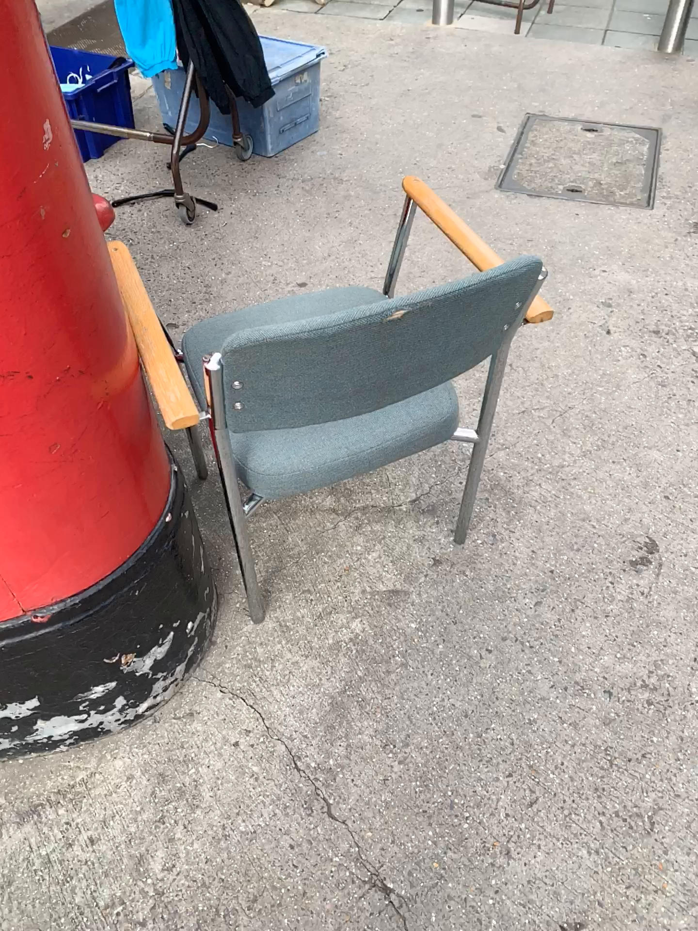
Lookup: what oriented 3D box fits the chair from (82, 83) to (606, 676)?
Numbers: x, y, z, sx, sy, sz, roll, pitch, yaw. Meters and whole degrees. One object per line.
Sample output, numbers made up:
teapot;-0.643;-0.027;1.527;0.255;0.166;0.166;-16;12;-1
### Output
chair;-0.038;-0.148;1.273;0.557;0.740;0.574;-19;49;-16
